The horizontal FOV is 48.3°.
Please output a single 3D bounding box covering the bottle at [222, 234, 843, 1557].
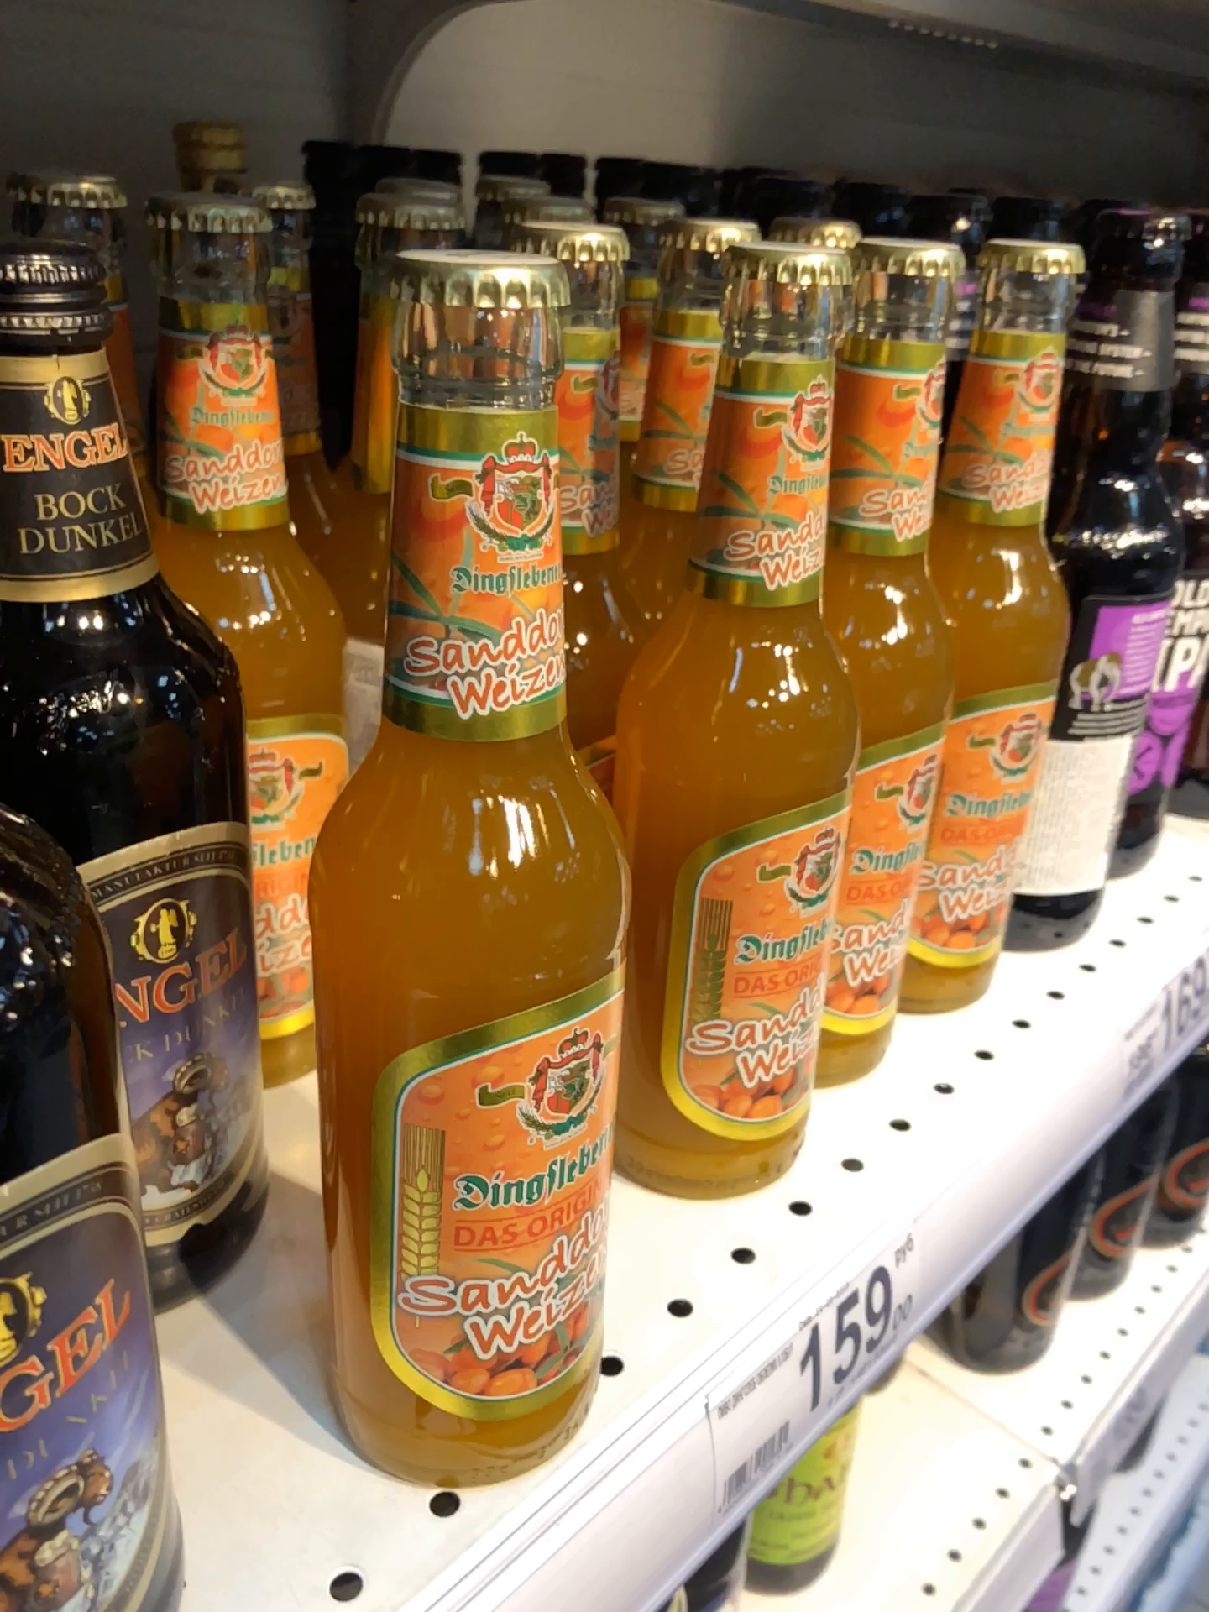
[{"bbox_3d":[-0.017,0.020,0.248,0.070,0.225,0.060,-19,33,-39],"label":"bottle"}]
